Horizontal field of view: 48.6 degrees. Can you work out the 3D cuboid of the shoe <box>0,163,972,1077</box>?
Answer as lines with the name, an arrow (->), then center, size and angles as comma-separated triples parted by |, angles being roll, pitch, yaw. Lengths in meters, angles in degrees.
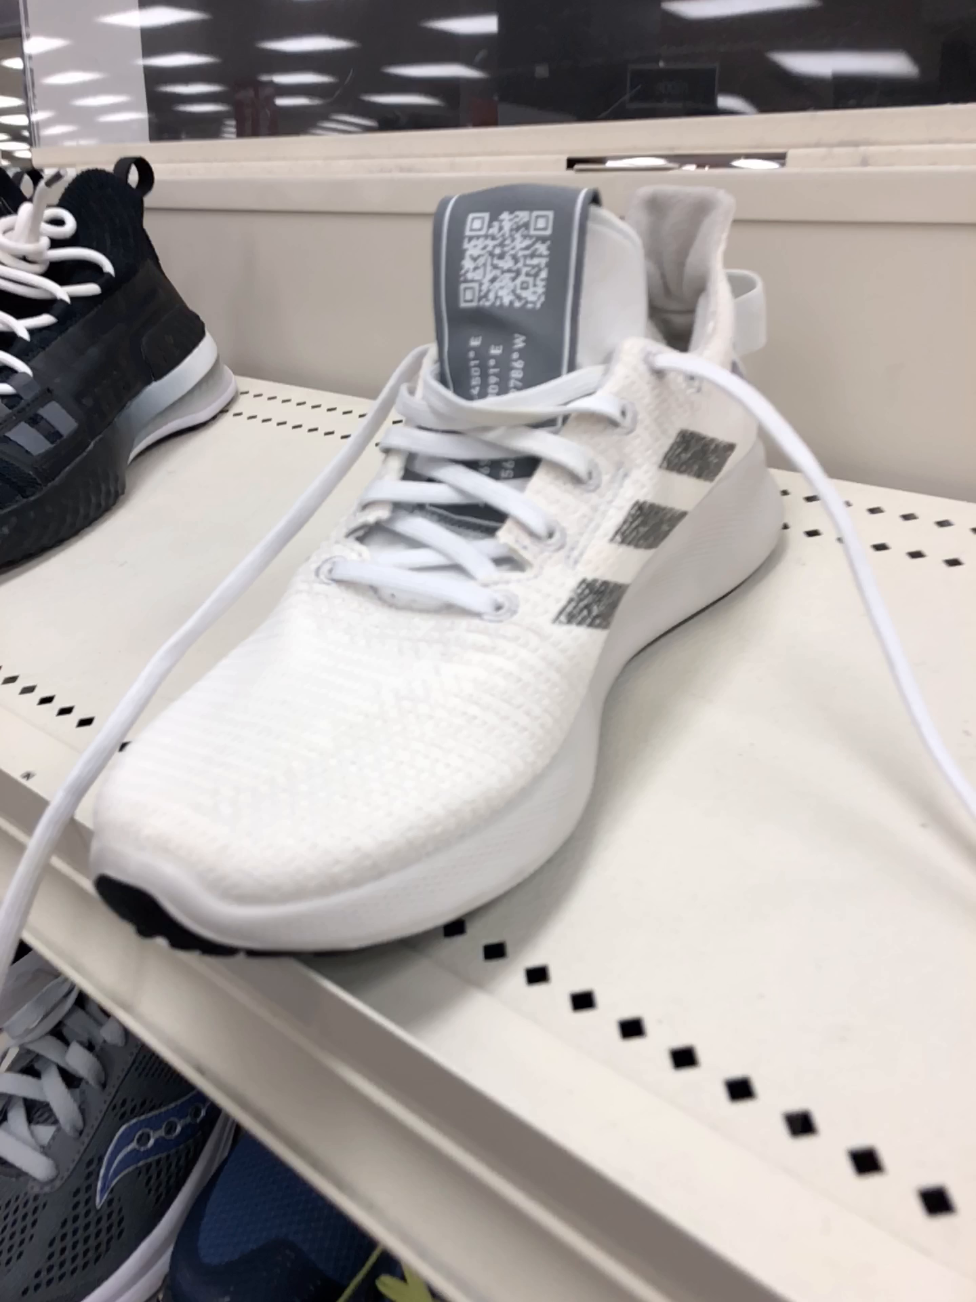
shoe -> 0.025, -0.072, 0.330 | 0.128, 0.139, 0.382 | 15, 28, 32
